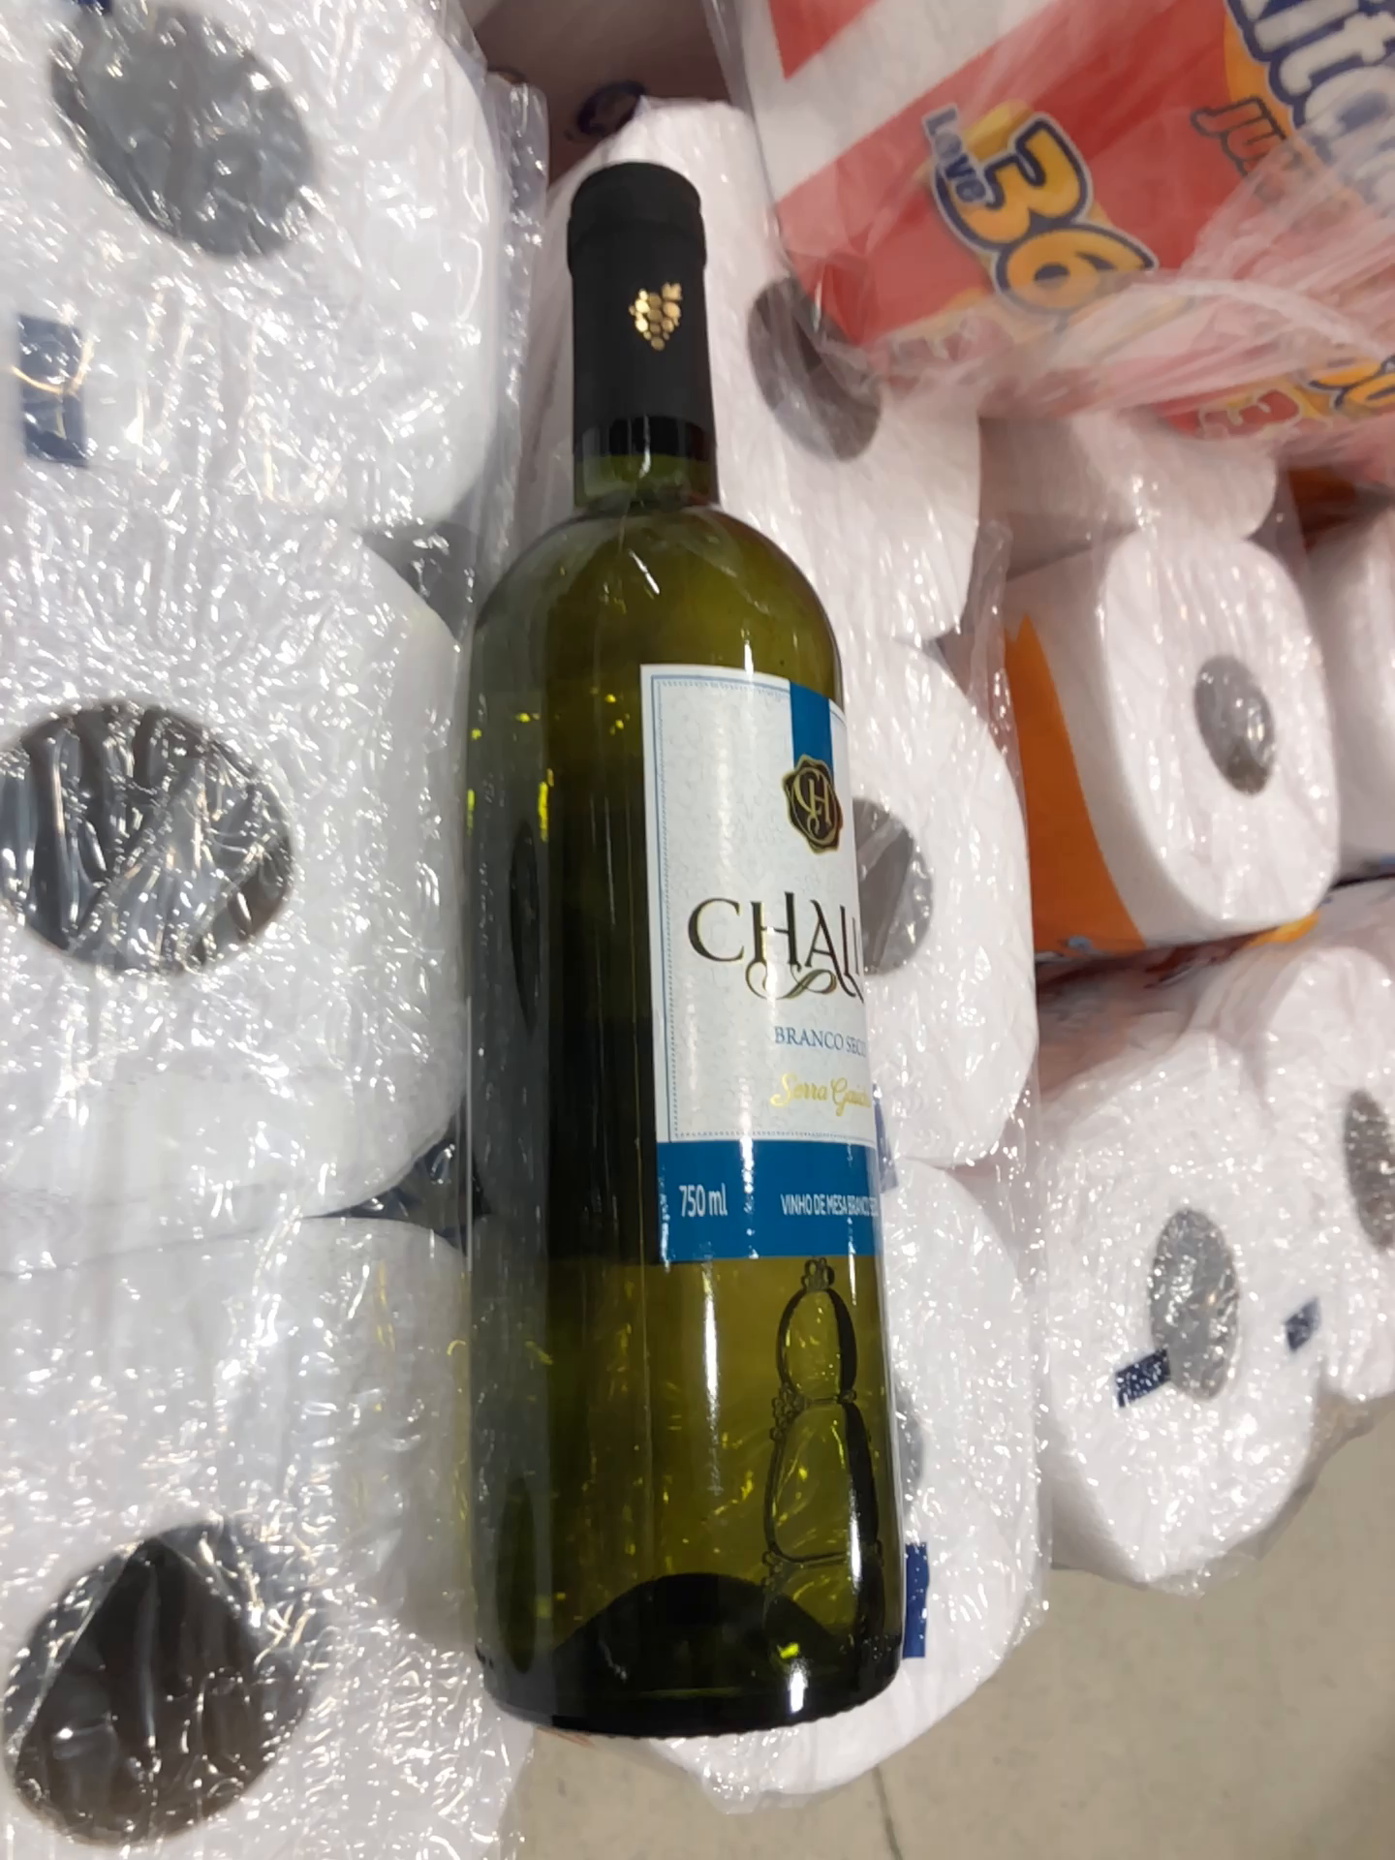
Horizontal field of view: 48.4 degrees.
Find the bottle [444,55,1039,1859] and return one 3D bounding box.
[{"bbox_3d":[0.005,-0.002,0.281,0.080,0.060,0.280,16,67,-52],"label":"bottle"}]
